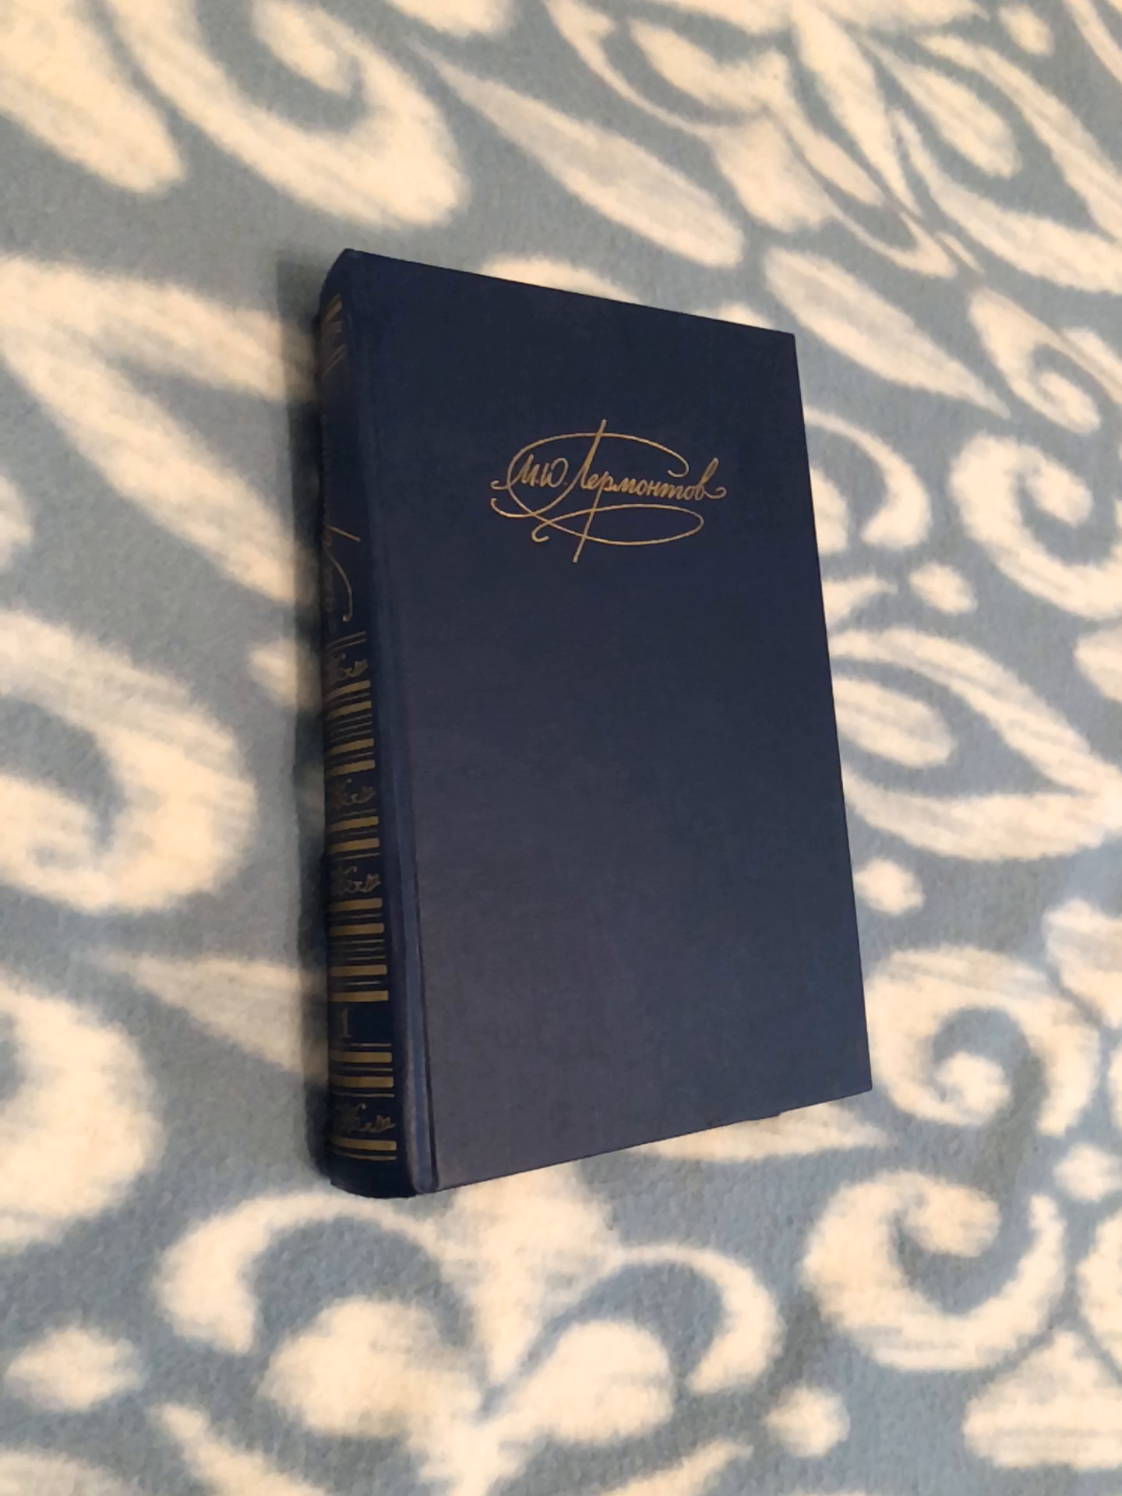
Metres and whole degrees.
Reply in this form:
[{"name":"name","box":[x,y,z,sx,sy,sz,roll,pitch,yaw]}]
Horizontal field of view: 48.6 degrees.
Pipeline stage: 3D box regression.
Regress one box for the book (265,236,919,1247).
[{"name":"book","box":[0.009,-0.004,0.295,0.139,0.040,0.200,0,82,-30]}]
